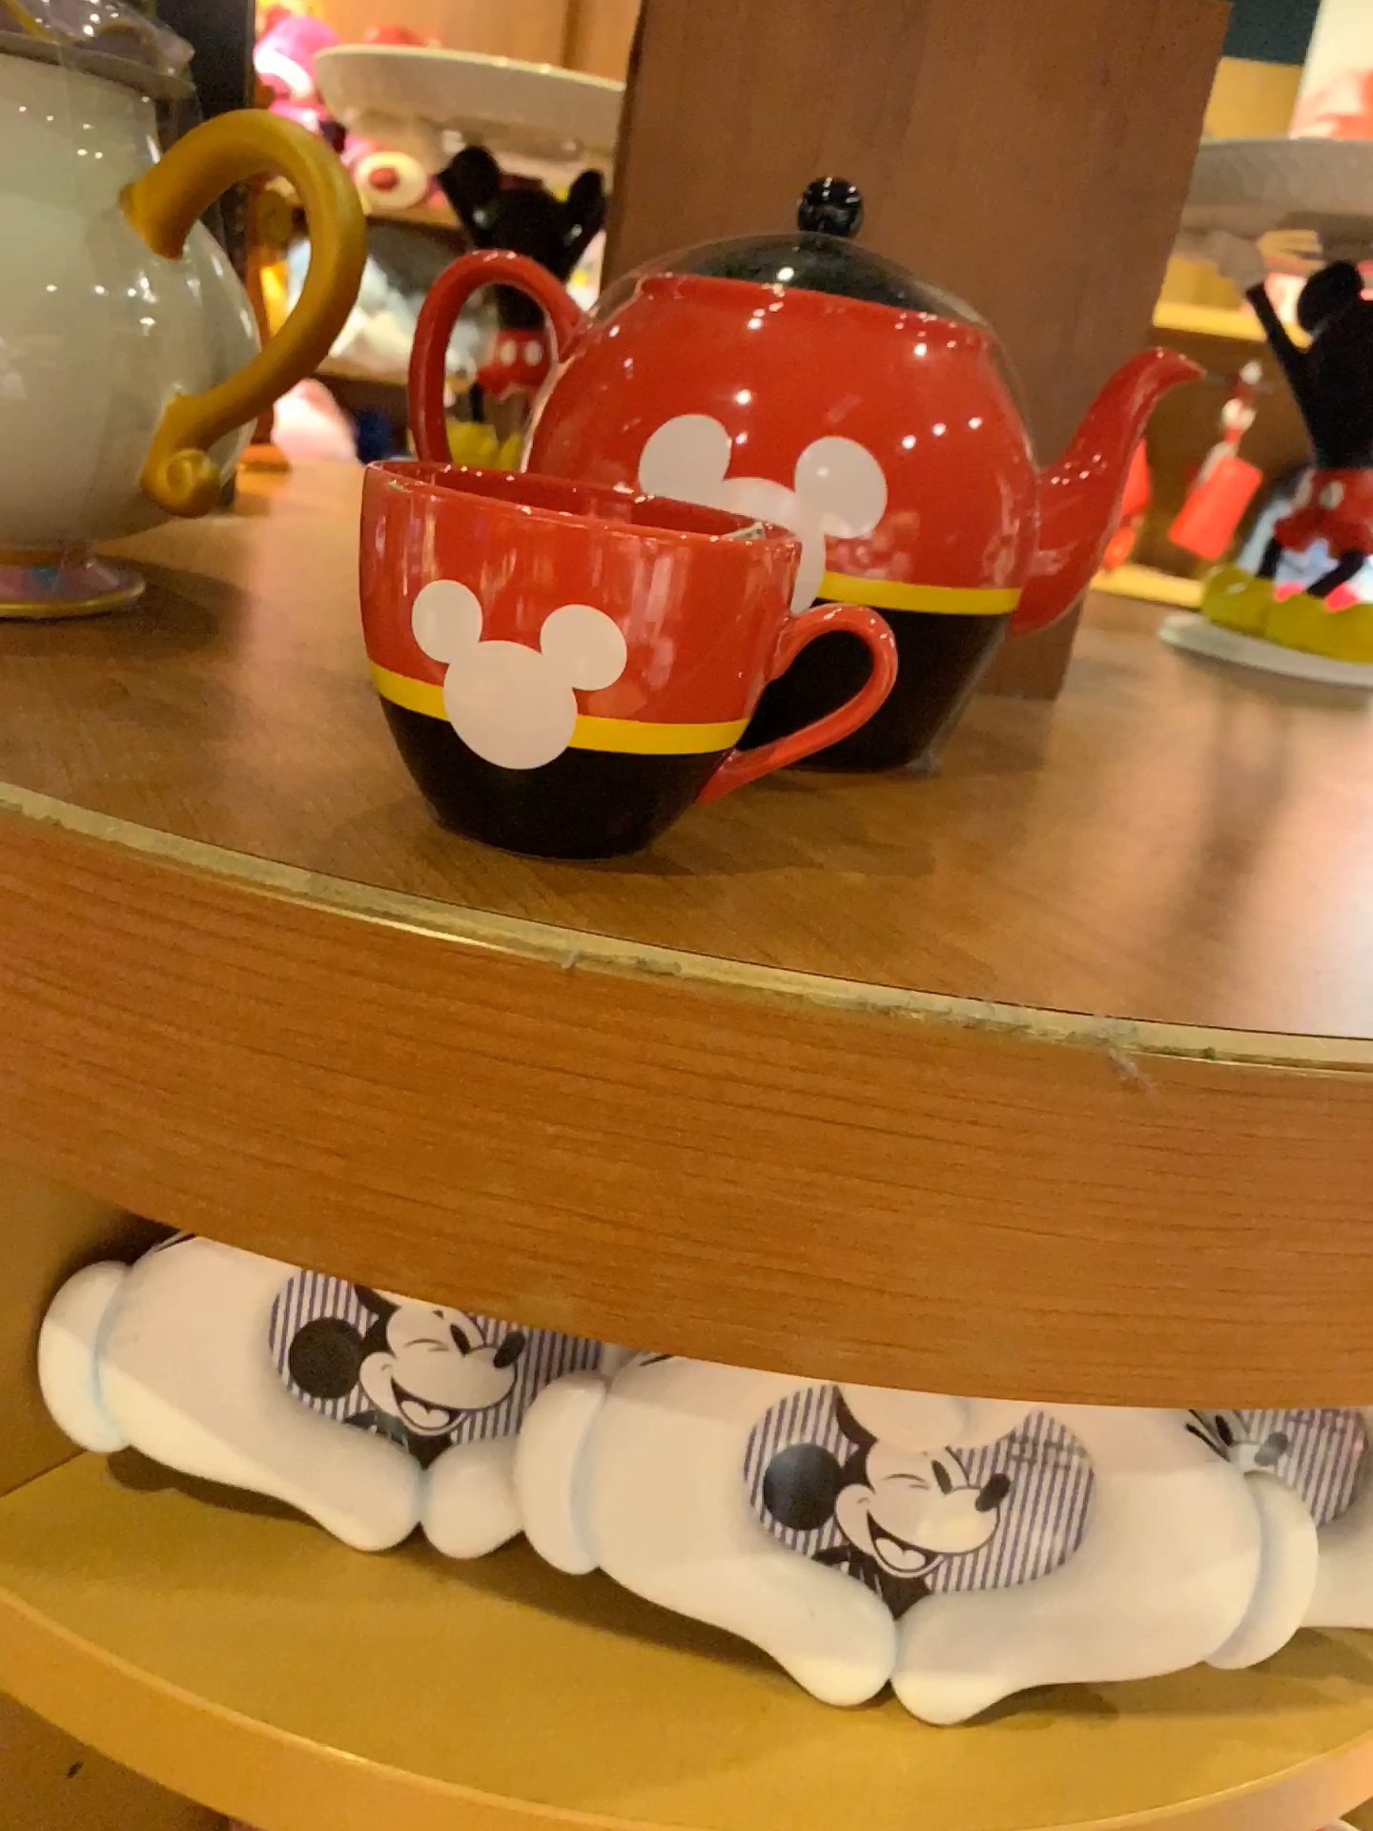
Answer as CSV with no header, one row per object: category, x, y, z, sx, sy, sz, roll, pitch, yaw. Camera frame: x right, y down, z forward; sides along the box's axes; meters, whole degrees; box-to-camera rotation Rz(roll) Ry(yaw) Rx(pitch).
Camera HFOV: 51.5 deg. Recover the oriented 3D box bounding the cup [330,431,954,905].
cup,-0.006,-0.056,0.290,0.100,0.065,0.078,14,20,12
